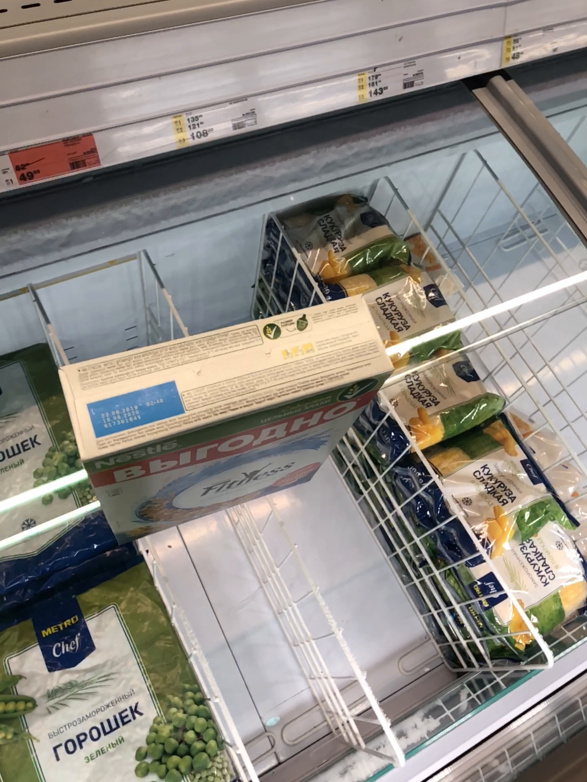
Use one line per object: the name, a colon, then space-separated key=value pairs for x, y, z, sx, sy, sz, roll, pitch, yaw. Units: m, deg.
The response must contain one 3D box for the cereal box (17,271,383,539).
cereal box: x=-0.071 y=0.028 z=0.493 sx=0.200 sy=0.269 sz=0.060 roll=-16 pitch=71 yaw=-16
